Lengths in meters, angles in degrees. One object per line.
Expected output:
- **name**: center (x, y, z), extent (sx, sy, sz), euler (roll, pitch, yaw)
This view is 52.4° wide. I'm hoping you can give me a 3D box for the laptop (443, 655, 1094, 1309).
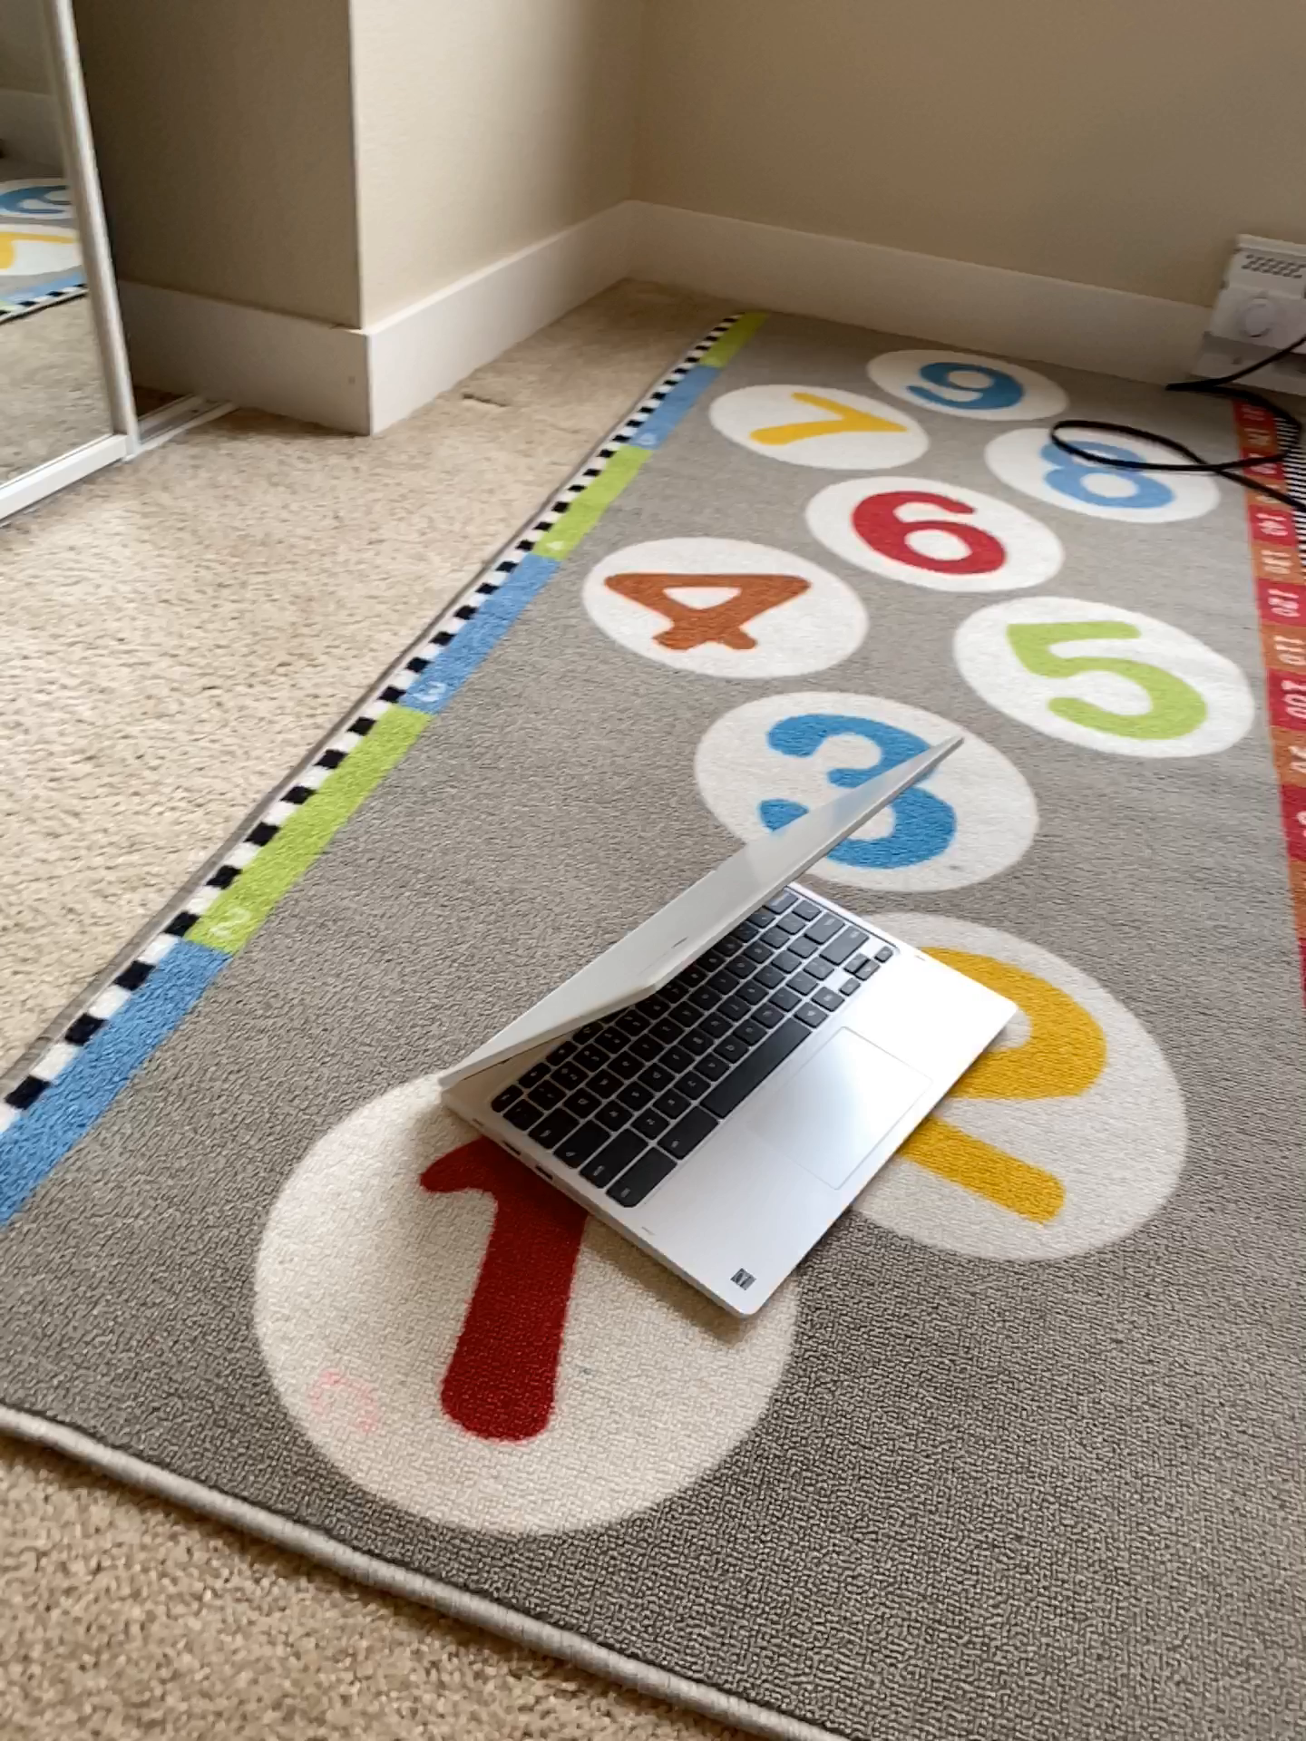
- **laptop**: center (0.064, 0.038, 0.741), extent (0.217, 0.164, 0.295), euler (28, 42, 27)
